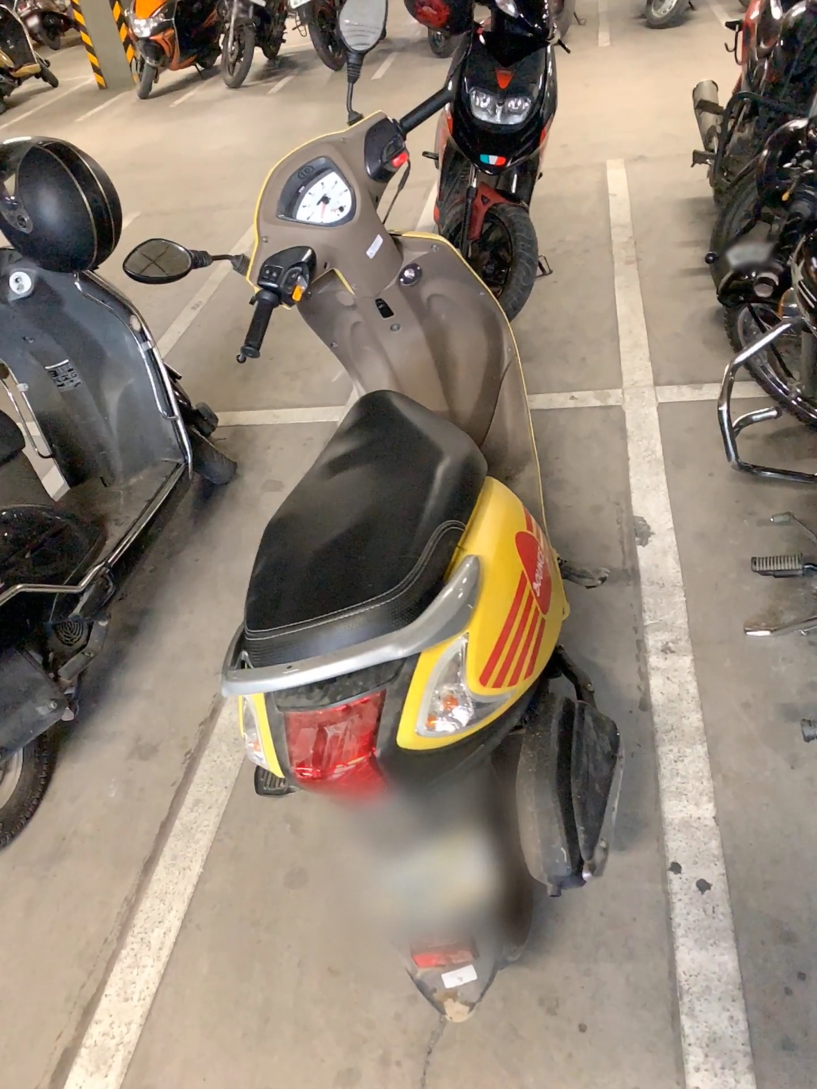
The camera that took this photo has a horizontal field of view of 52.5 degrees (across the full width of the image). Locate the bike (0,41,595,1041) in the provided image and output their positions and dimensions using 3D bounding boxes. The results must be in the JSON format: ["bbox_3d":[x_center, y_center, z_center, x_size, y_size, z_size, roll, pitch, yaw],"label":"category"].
[{"bbox_3d":[-0.012,-0.202,1.603,0.566,1.048,1.712,-4,38,9],"label":"bike"}]
